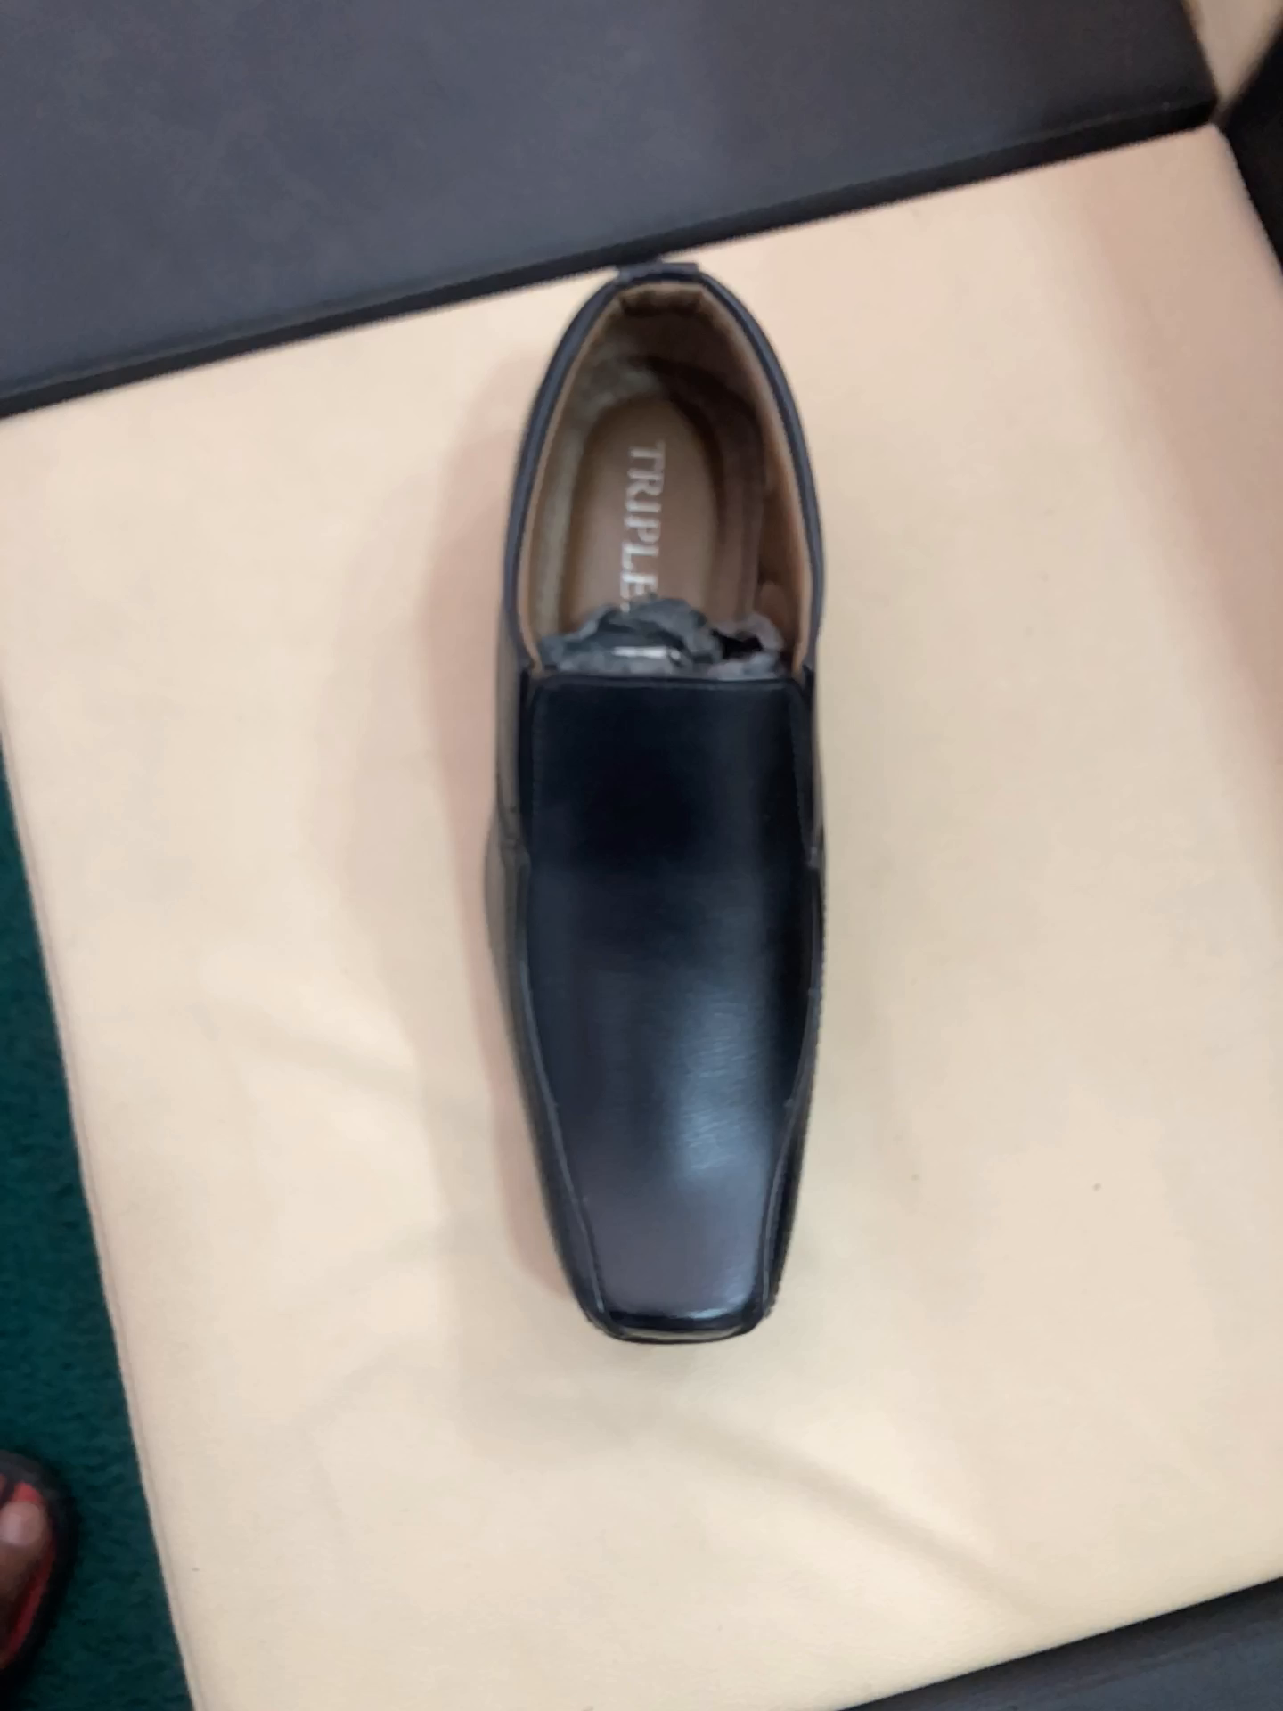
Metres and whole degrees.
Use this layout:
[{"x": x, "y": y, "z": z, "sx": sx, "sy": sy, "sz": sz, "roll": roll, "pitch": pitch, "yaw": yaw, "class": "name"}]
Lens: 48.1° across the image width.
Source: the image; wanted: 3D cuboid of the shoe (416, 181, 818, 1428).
[{"x": -0.008, "y": -0.016, "z": 0.400, "sx": 0.090, "sy": 0.100, "sz": 0.310, "roll": -1, "pitch": 79, "yaw": 0, "class": "shoe"}]
